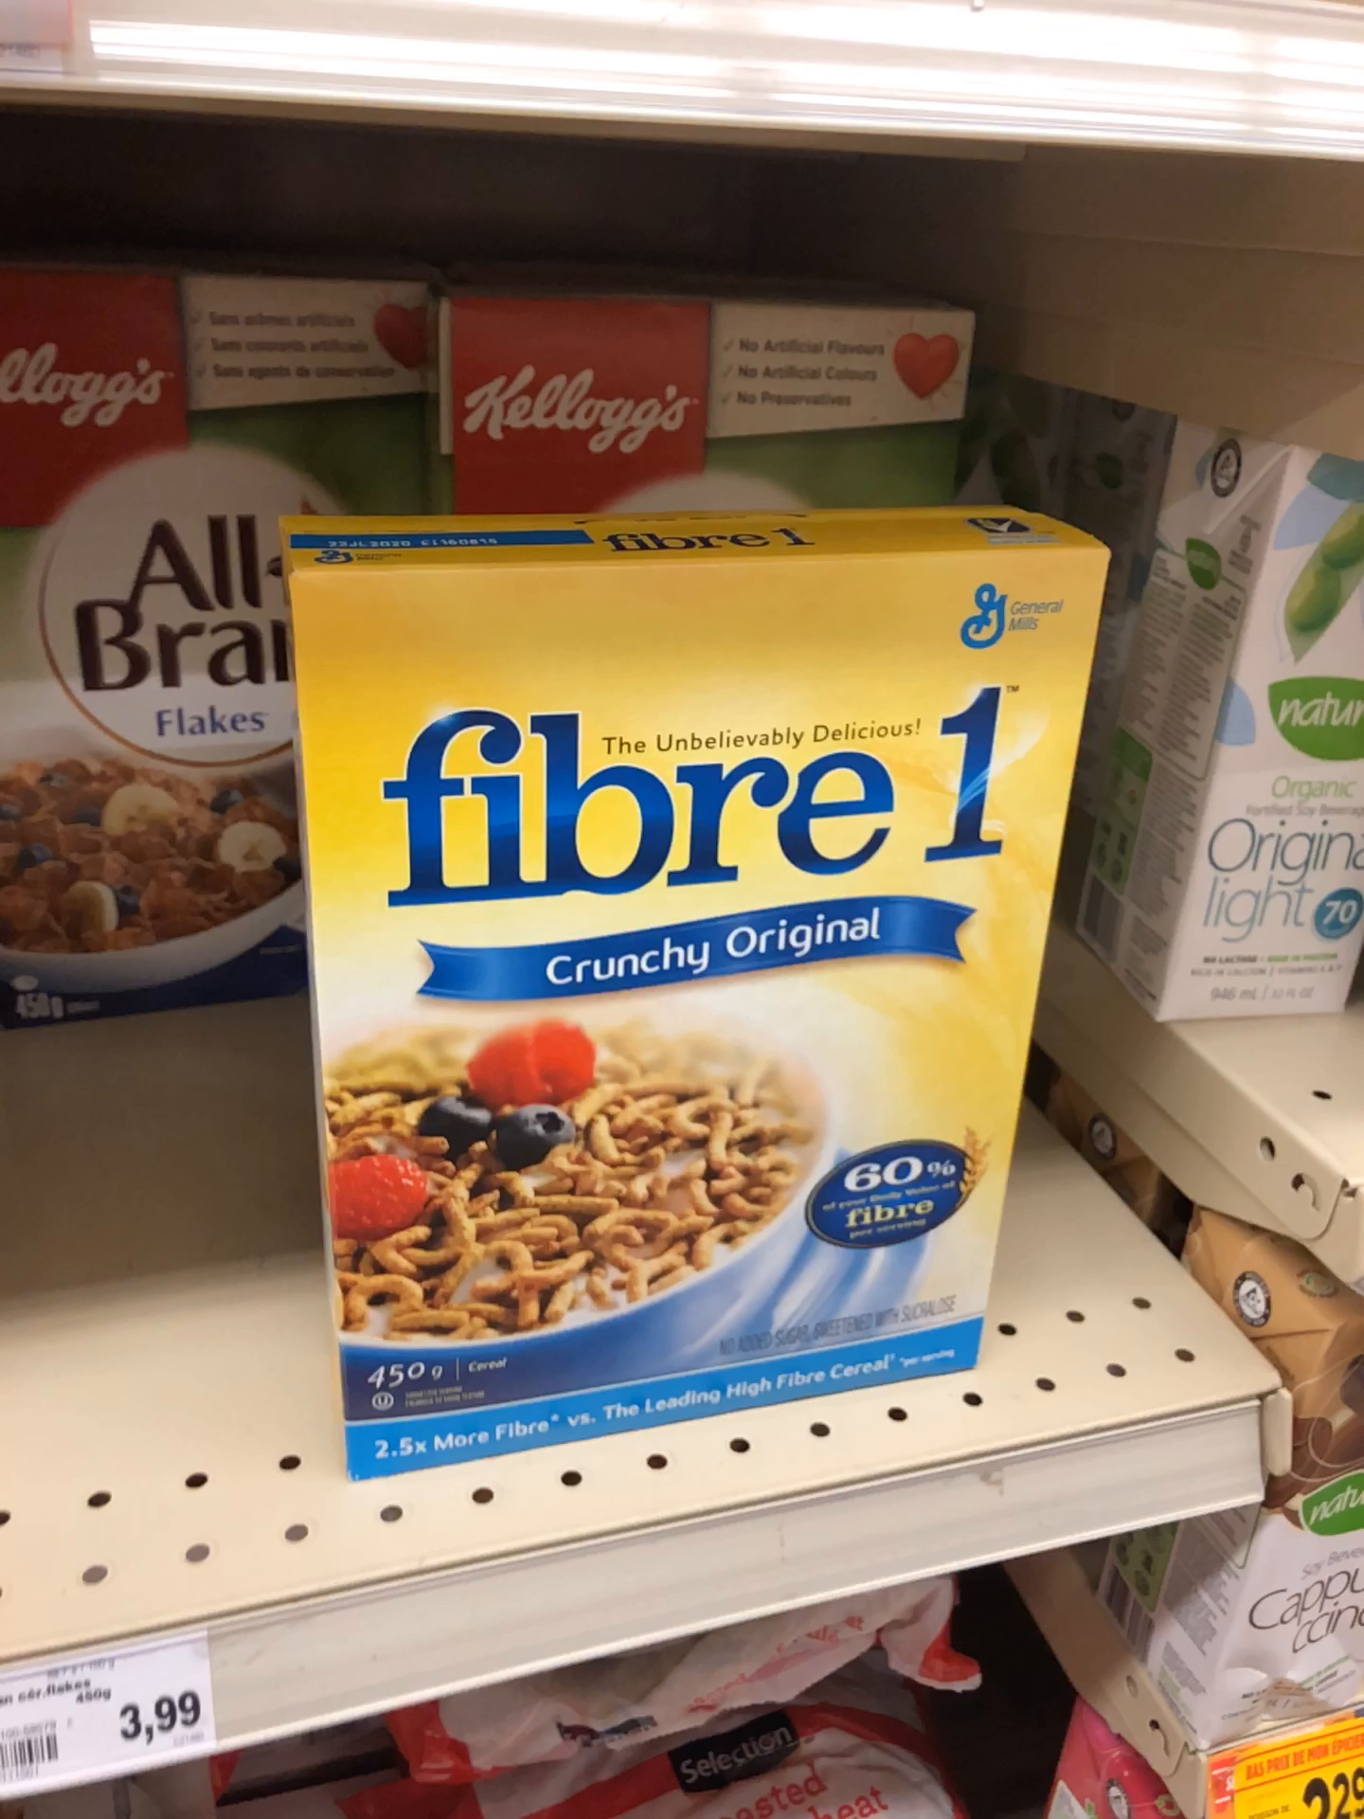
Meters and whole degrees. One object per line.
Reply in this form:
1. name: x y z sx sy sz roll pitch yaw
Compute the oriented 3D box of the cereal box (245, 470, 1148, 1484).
1. cereal box: -0.003 0.020 0.424 0.210 0.268 0.060 -5 27 -16
